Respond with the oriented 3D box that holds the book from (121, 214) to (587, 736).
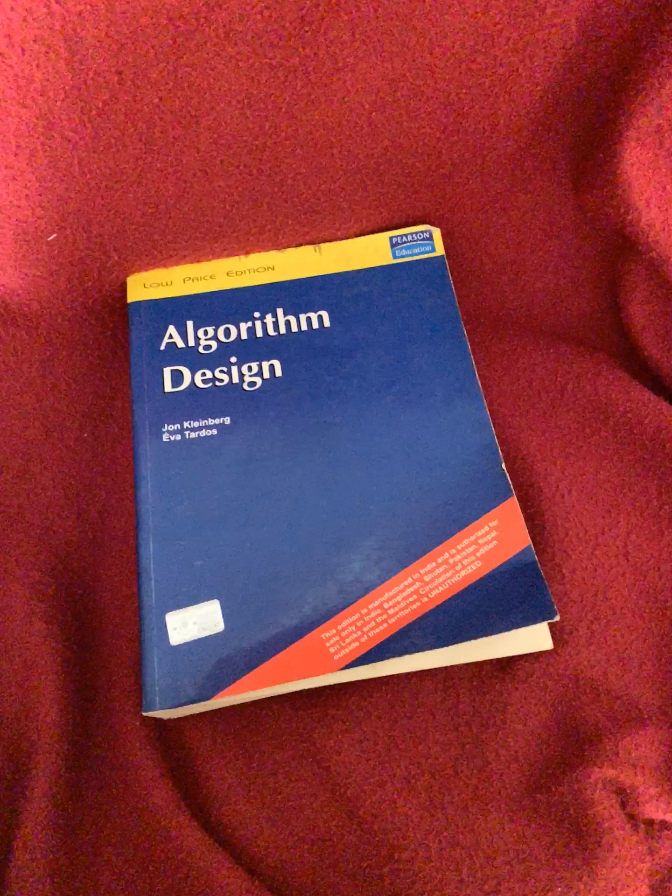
[{"bbox_3d":[-0.005,0.003,0.375,0.190,0.060,0.251,-9,66,-5],"label":"book"}]
